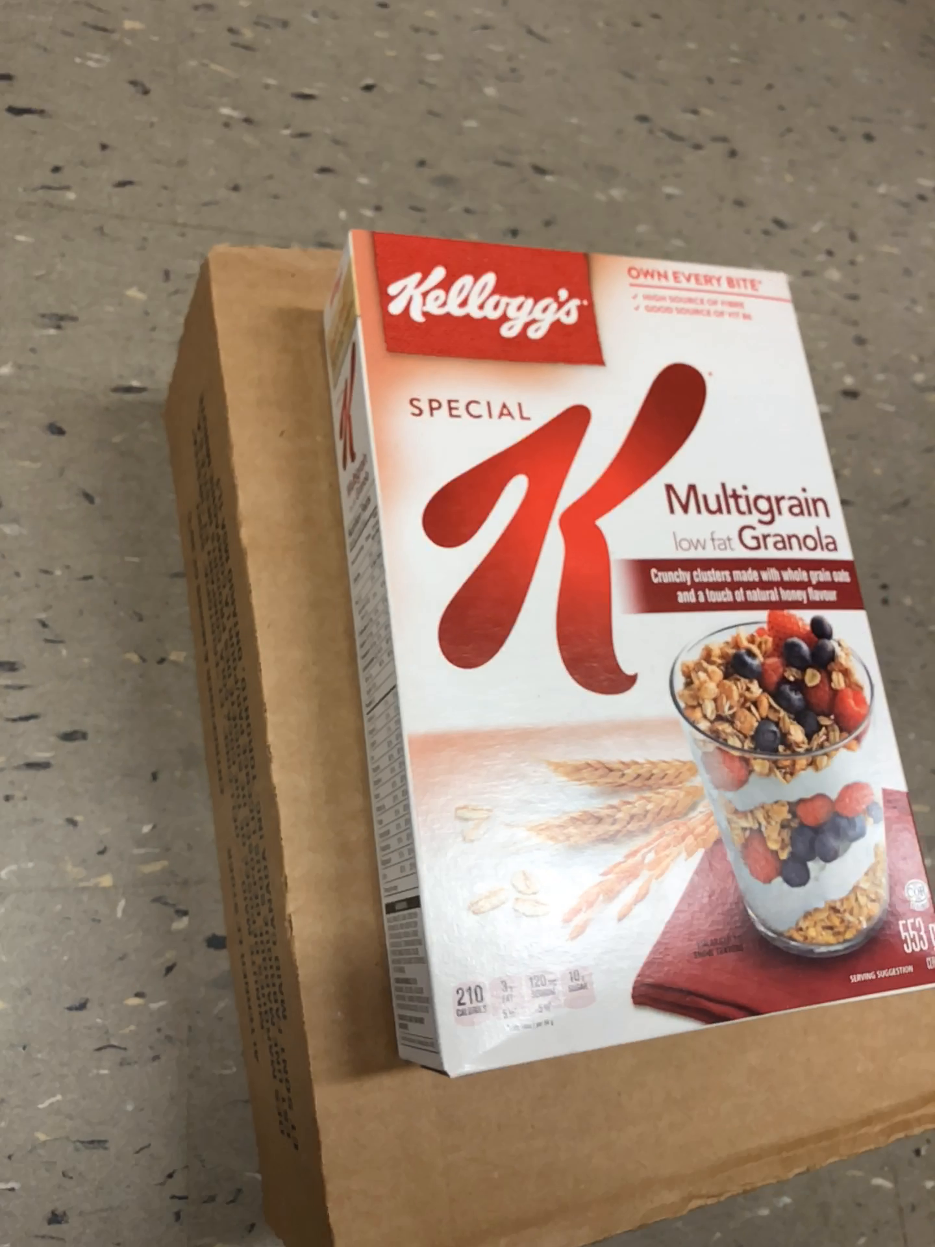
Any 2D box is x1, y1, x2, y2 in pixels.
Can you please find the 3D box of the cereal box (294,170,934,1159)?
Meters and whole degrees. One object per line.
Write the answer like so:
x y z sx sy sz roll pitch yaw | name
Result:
0.050 0.001 0.332 0.180 0.050 0.270 1 69 -26 | cereal box
